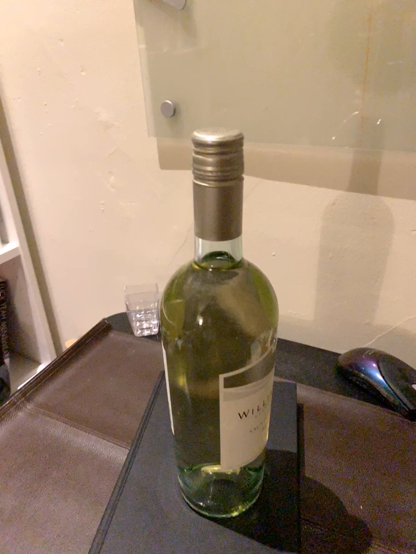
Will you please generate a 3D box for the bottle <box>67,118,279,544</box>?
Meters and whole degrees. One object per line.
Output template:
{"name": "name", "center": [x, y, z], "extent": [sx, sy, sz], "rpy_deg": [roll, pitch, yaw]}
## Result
{"name": "bottle", "center": [-0.008, 0.049, 0.315], "extent": [0.090, 0.298, 0.090], "rpy_deg": [-3, 28, 1]}
